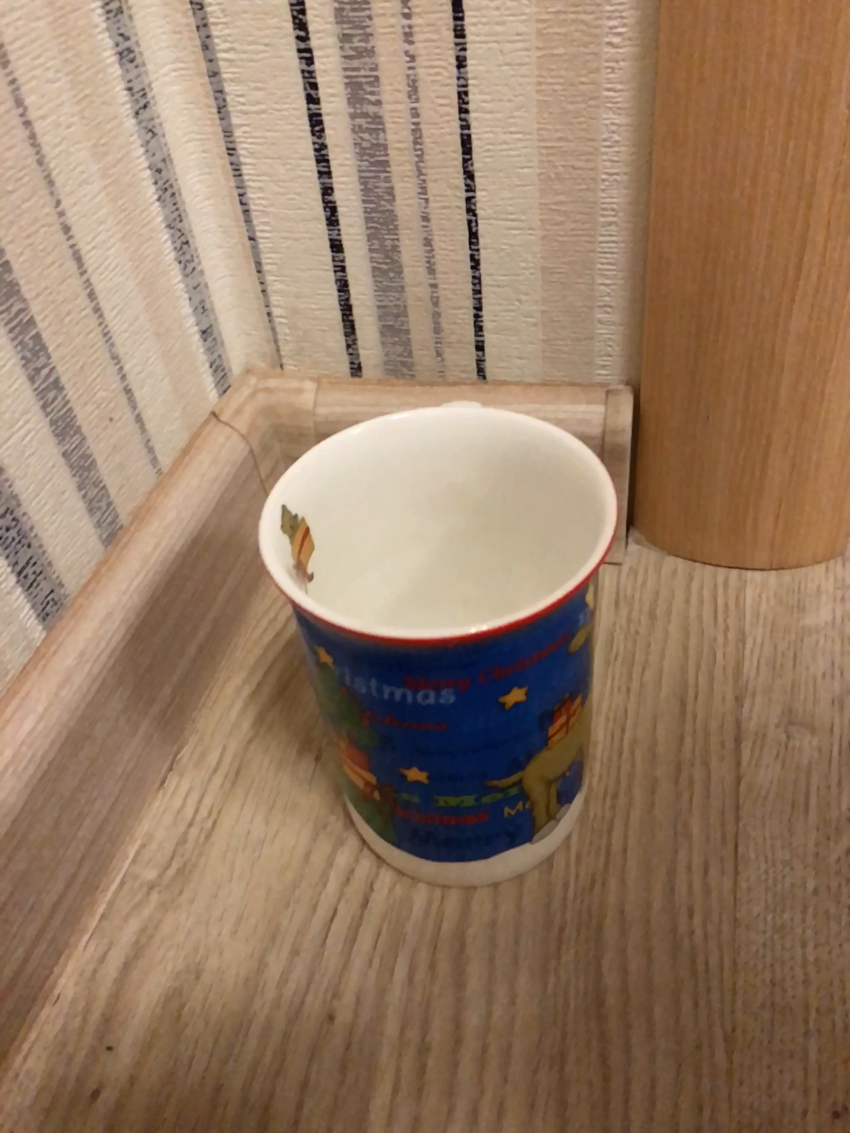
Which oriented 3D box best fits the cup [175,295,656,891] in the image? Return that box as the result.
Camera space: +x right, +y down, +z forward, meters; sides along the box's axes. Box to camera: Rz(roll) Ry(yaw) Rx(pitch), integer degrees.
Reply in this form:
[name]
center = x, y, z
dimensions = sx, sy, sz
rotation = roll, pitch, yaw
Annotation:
[cup]
center = 0.005, 0.004, 0.245
dimensions = 0.087, 0.094, 0.121
rotation = -2, 43, 6
